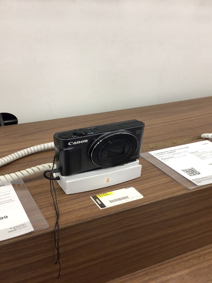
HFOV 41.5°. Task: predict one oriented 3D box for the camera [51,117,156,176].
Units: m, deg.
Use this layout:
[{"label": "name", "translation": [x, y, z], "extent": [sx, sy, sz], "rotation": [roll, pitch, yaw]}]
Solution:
[{"label": "camera", "translation": [-0.001, 0.004, 0.321], "extent": [0.108, 0.045, 0.030], "rotation": [-11, 34, -21]}]
